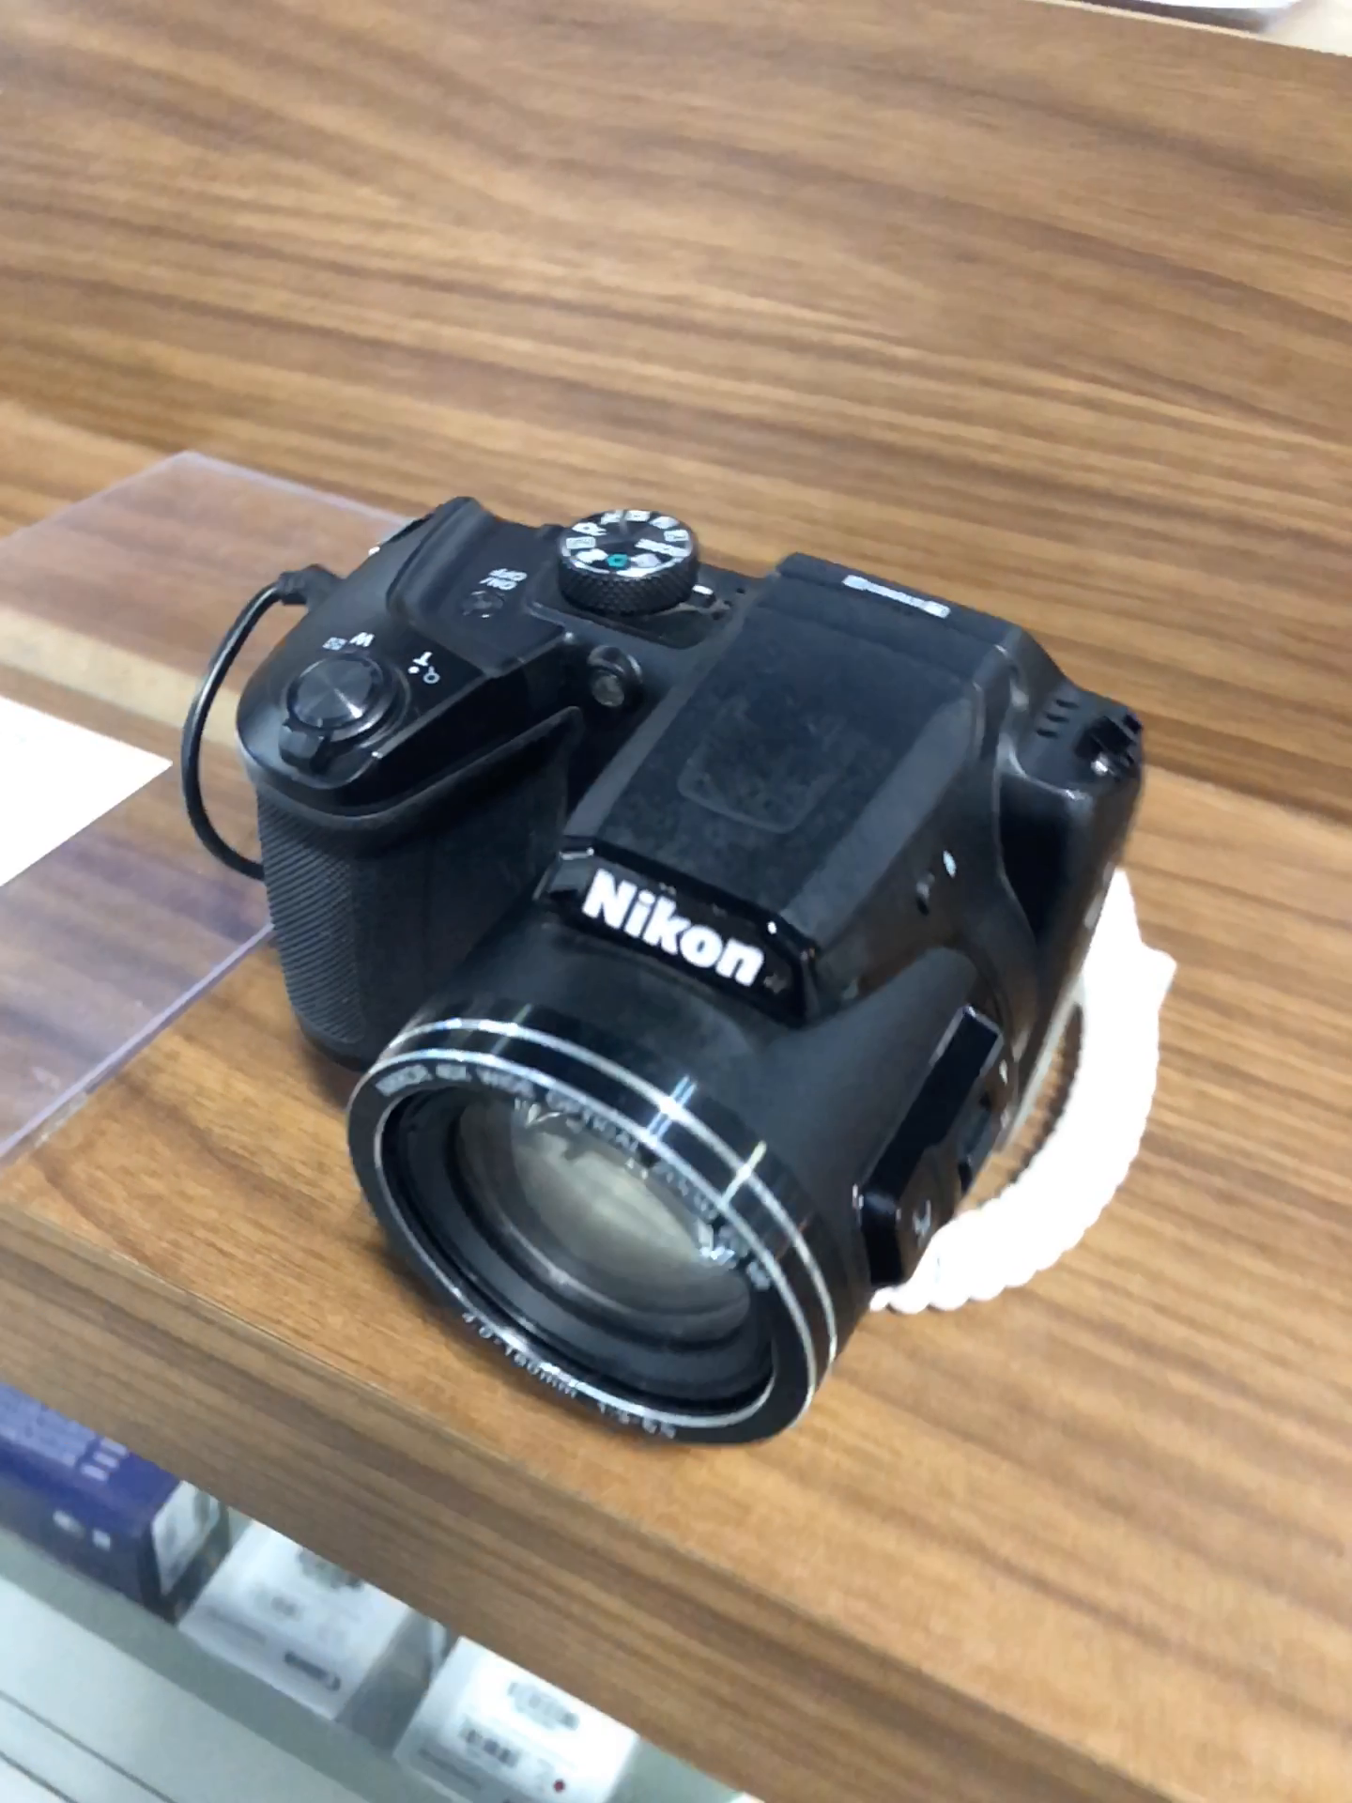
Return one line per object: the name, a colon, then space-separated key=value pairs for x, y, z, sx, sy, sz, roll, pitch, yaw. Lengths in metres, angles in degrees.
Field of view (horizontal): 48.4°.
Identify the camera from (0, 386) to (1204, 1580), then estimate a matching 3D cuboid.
camera: x=-0.016 y=-0.003 z=0.195 sx=0.130 sy=0.070 sz=0.101 roll=20 pitch=39 yaw=16
